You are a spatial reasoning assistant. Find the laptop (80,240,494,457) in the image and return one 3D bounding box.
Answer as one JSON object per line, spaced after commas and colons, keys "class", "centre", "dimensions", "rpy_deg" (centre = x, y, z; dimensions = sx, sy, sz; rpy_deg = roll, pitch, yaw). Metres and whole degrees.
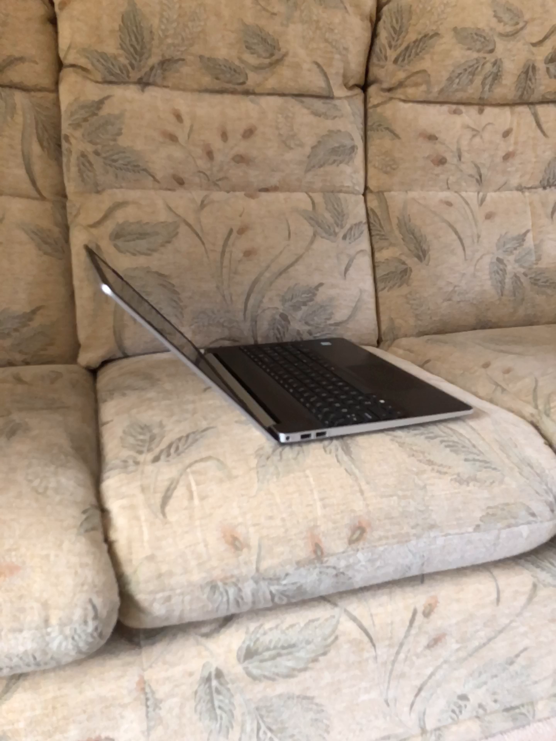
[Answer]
{"class": "laptop", "centre": [-0.020, -0.061, 0.743], "dimensions": [0.397, 0.163, 0.340], "rpy_deg": [-6, 20, -20]}
